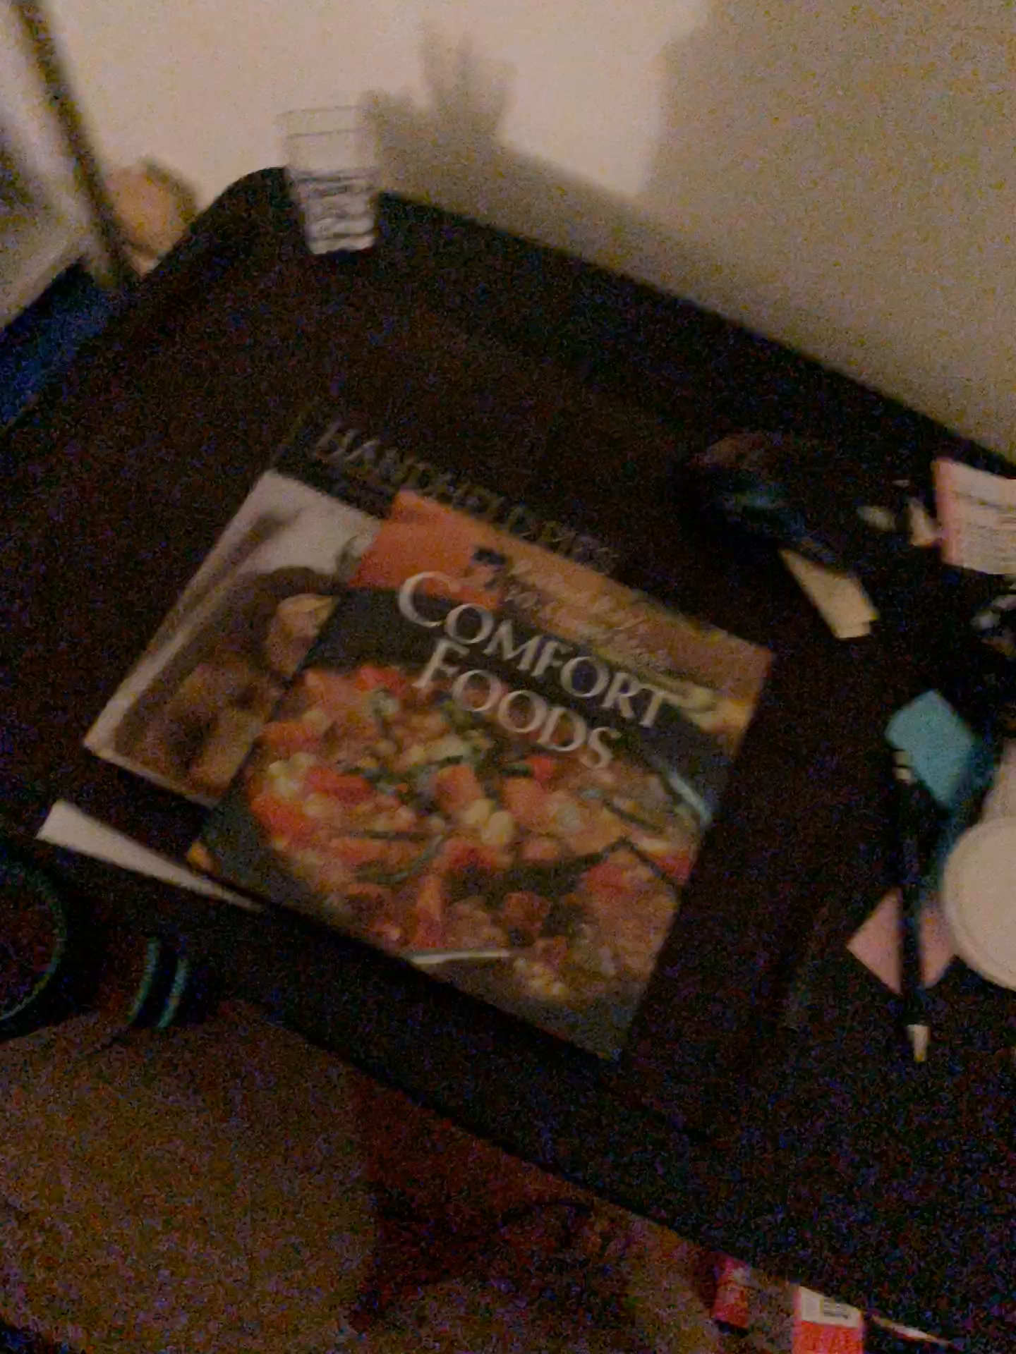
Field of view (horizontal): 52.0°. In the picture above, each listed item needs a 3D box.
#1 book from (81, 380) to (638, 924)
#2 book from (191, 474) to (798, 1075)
[{"bbox_3d":[-0.063,-0.023,0.503,0.180,0.020,0.220,25,68,5],"label":"book"},{"bbox_3d":[0.002,0.033,0.470,0.200,0.020,0.210,24,68,5],"label":"book"}]
